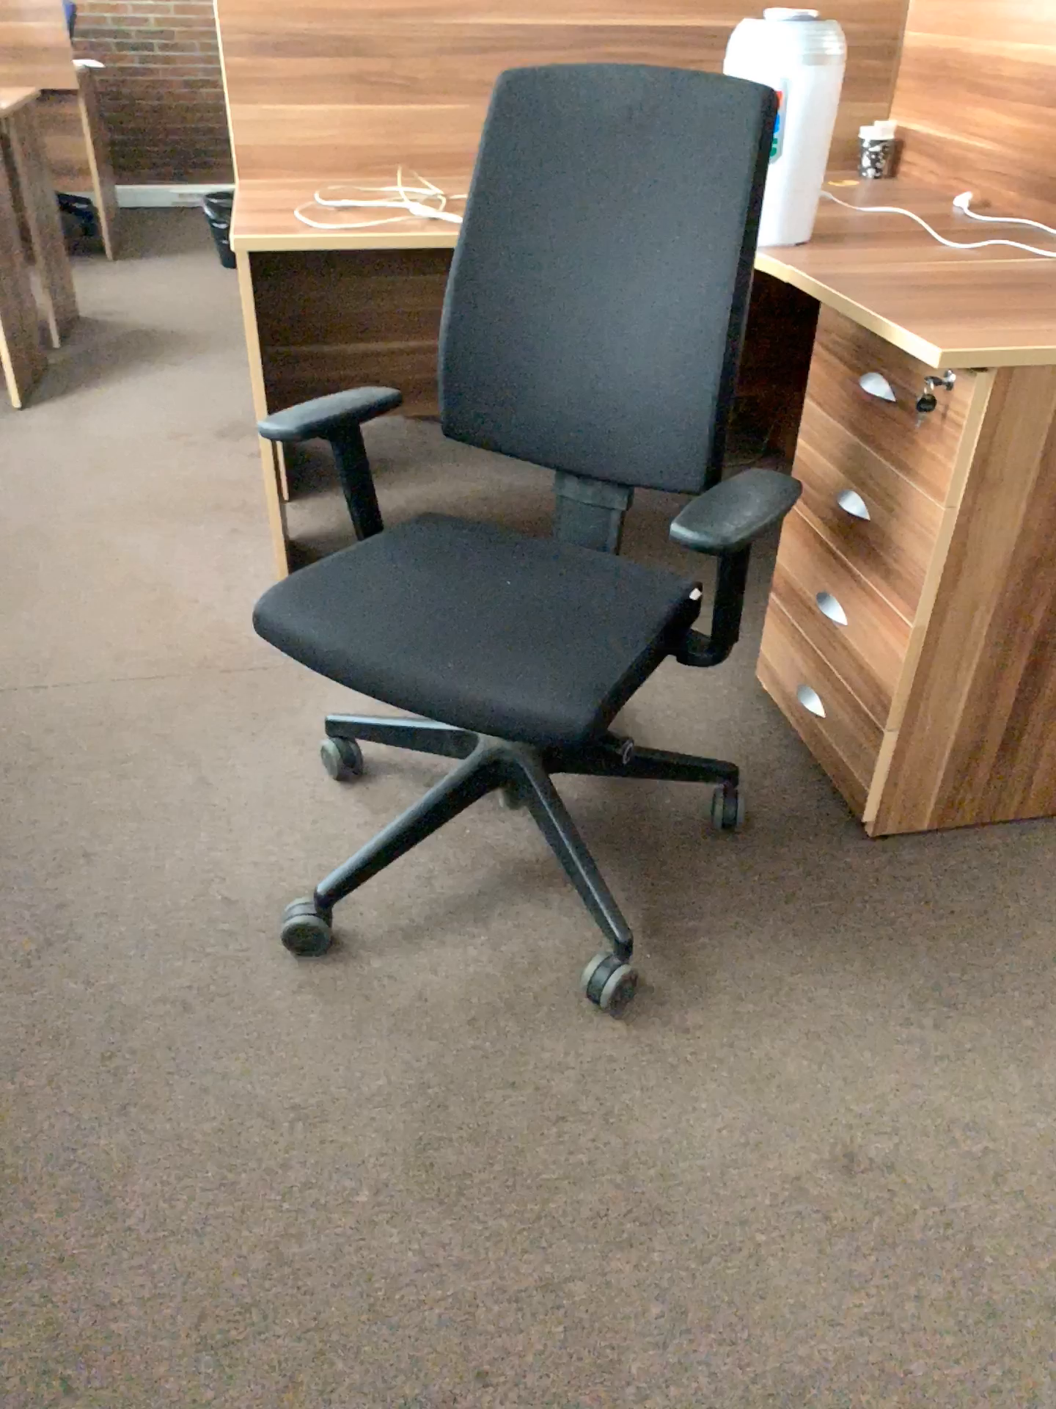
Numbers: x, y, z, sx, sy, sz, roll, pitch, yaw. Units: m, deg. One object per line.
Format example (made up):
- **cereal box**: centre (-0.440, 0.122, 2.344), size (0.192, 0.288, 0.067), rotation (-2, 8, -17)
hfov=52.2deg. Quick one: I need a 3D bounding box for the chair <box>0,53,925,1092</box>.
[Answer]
- **chair**: centre (-0.037, -0.248, 1.339), size (0.671, 0.915, 0.793), rotation (18, 37, 24)
